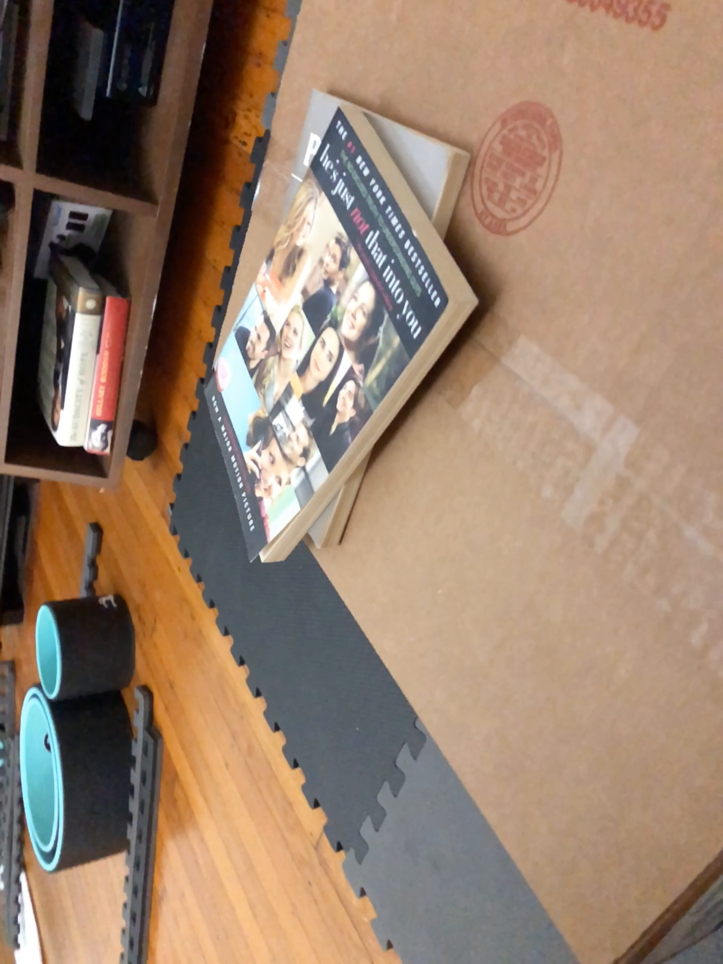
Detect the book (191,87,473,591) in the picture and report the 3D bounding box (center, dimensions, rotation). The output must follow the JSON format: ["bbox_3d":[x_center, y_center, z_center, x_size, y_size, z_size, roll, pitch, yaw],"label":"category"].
[{"bbox_3d":[-0.036,-0.064,0.433,0.231,0.010,0.150,-54,49,42],"label":"book"}]
